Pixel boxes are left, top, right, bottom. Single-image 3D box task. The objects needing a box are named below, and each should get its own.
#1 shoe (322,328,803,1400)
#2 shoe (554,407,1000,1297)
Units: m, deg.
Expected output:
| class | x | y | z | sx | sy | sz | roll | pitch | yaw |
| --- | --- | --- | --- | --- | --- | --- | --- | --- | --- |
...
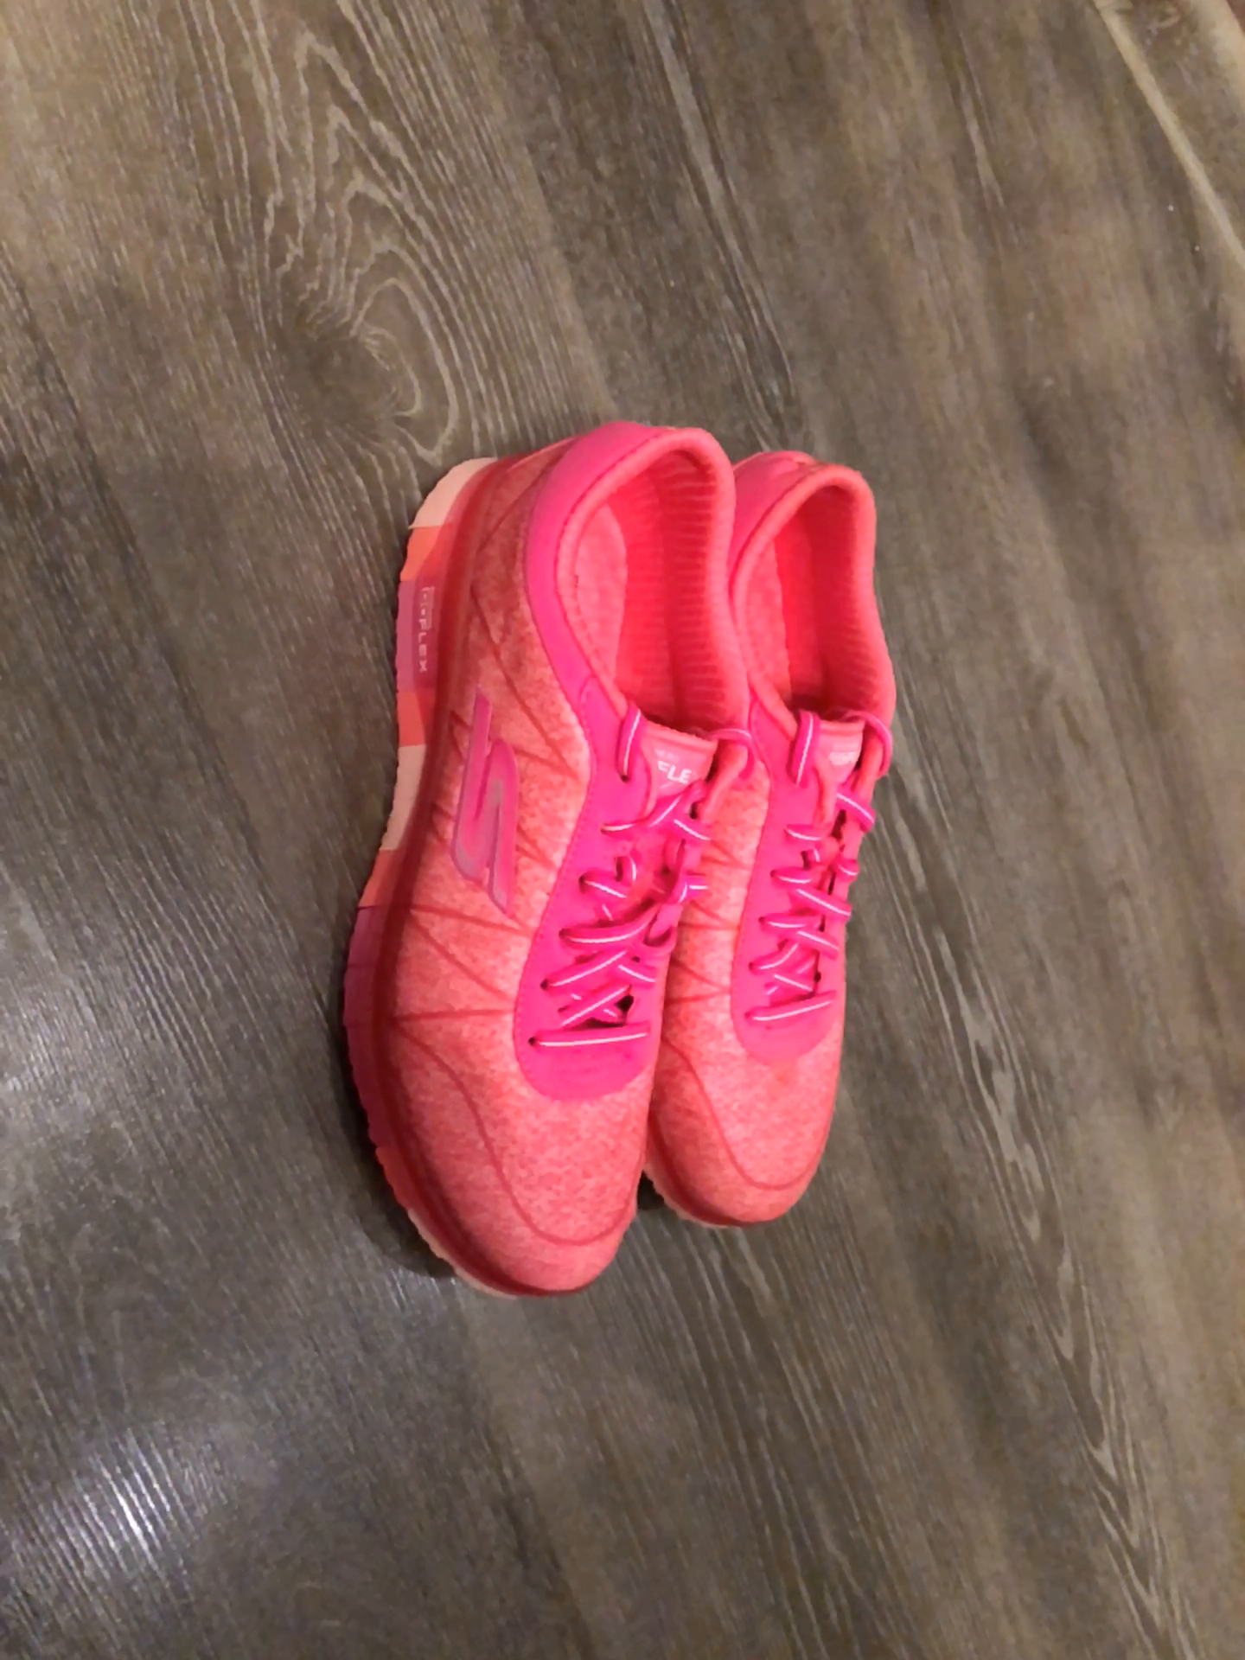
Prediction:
| class | x | y | z | sx | sy | sz | roll | pitch | yaw |
| --- | --- | --- | --- | --- | --- | --- | --- | --- | --- |
| shoe | -0.016 | 0.010 | 0.398 | 0.100 | 0.090 | 0.260 | 6 | 82 | -40 |
| shoe | 0.051 | 0.007 | 0.467 | 0.101 | 0.090 | 0.260 | -1 | 86 | -40 |
